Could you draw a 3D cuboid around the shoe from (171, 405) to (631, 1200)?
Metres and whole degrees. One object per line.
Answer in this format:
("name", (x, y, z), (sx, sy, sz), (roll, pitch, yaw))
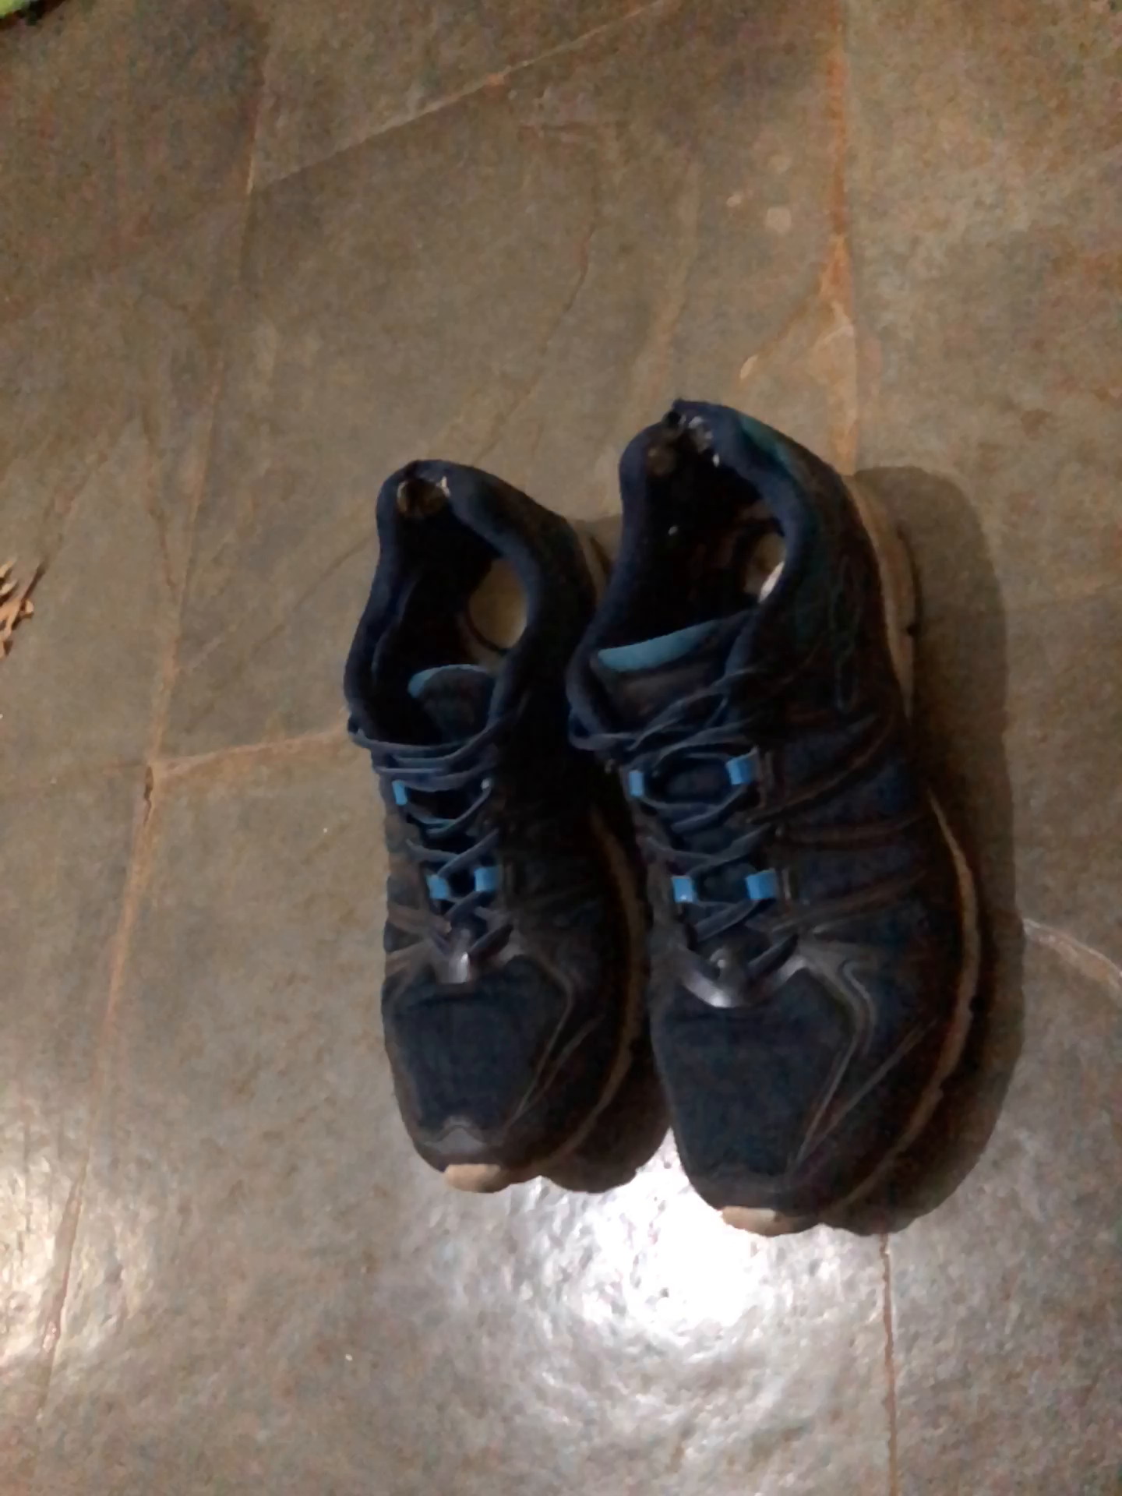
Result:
("shoe", (-0.051, 0.028, 0.490), (0.120, 0.110, 0.281), (-10, 67, 28))

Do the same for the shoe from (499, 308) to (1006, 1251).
("shoe", (0.068, 0.015, 0.422), (0.120, 0.110, 0.281), (-8, 67, 29))
